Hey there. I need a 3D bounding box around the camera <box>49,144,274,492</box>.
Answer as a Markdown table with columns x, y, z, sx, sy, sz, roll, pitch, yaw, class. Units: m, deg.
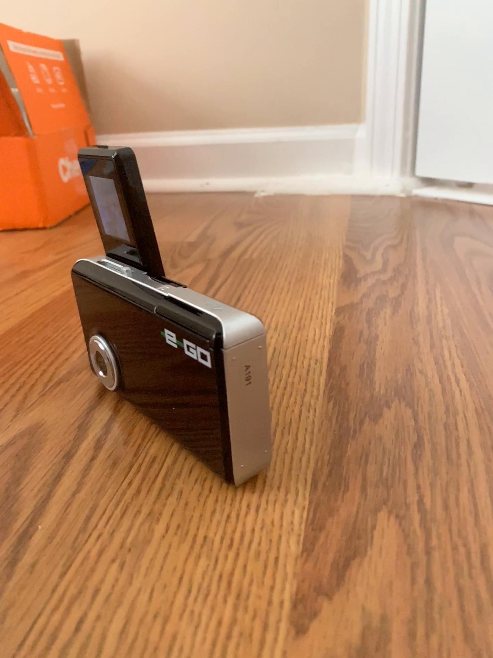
| x | y | z | sx | sy | sz | roll | pitch | yaw | class |
| --- | --- | --- | --- | --- | --- | --- | --- | --- | --- |
| -0.038 | -0.014 | 0.208 | 0.022 | 0.111 | 0.119 | -19 | 28 | -34 | camera |
